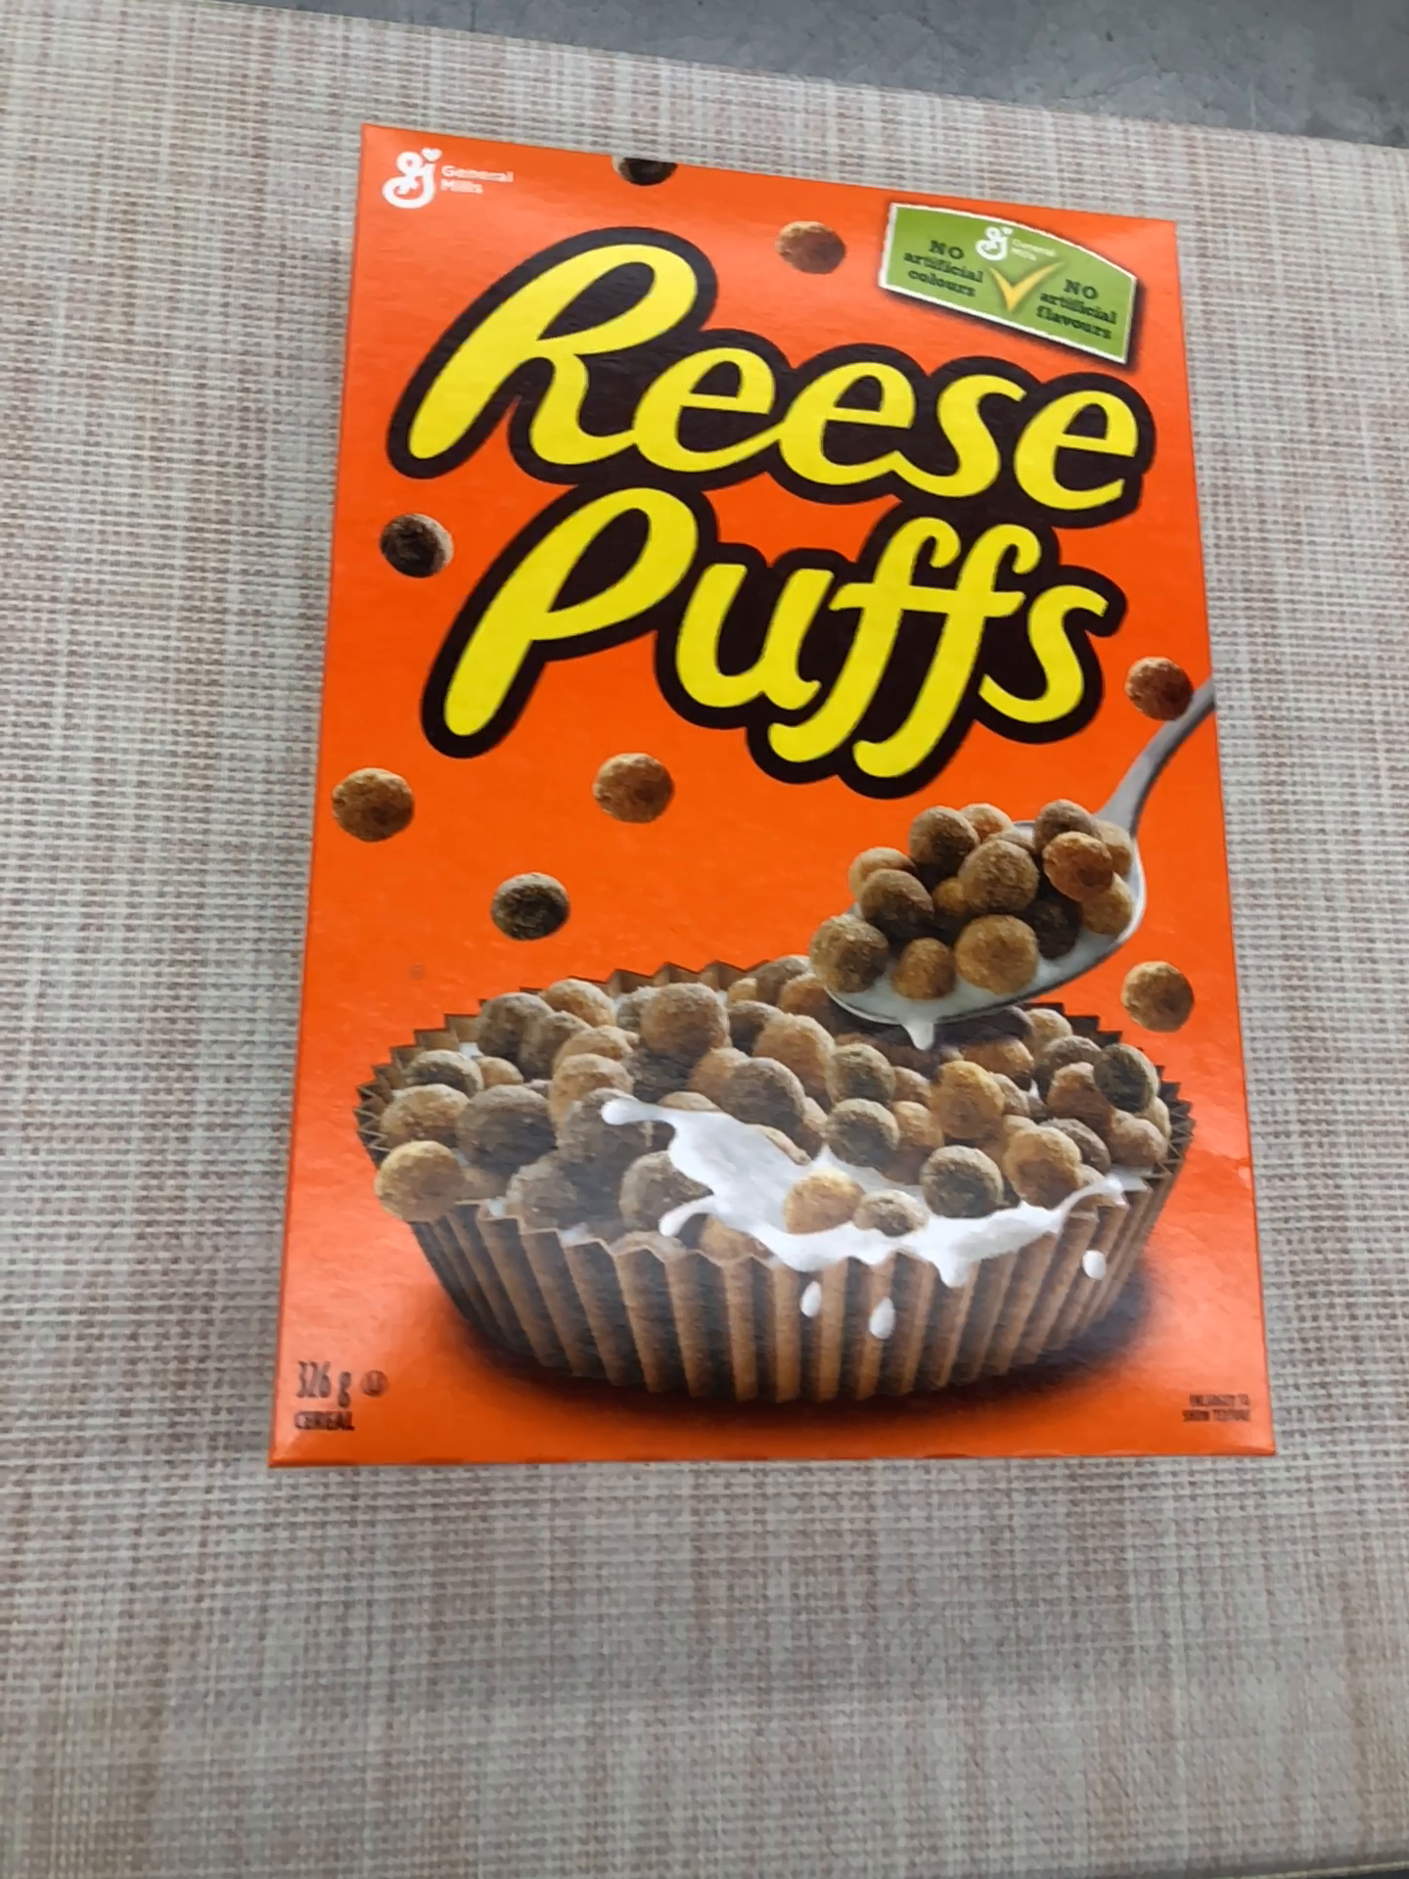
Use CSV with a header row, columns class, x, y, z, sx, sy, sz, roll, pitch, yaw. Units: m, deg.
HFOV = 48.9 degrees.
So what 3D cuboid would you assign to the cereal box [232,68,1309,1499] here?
class,x,y,z,sx,sy,sz,roll,pitch,yaw
cereal box,0.013,-0.033,0.339,0.200,0.060,0.280,3,77,-12
